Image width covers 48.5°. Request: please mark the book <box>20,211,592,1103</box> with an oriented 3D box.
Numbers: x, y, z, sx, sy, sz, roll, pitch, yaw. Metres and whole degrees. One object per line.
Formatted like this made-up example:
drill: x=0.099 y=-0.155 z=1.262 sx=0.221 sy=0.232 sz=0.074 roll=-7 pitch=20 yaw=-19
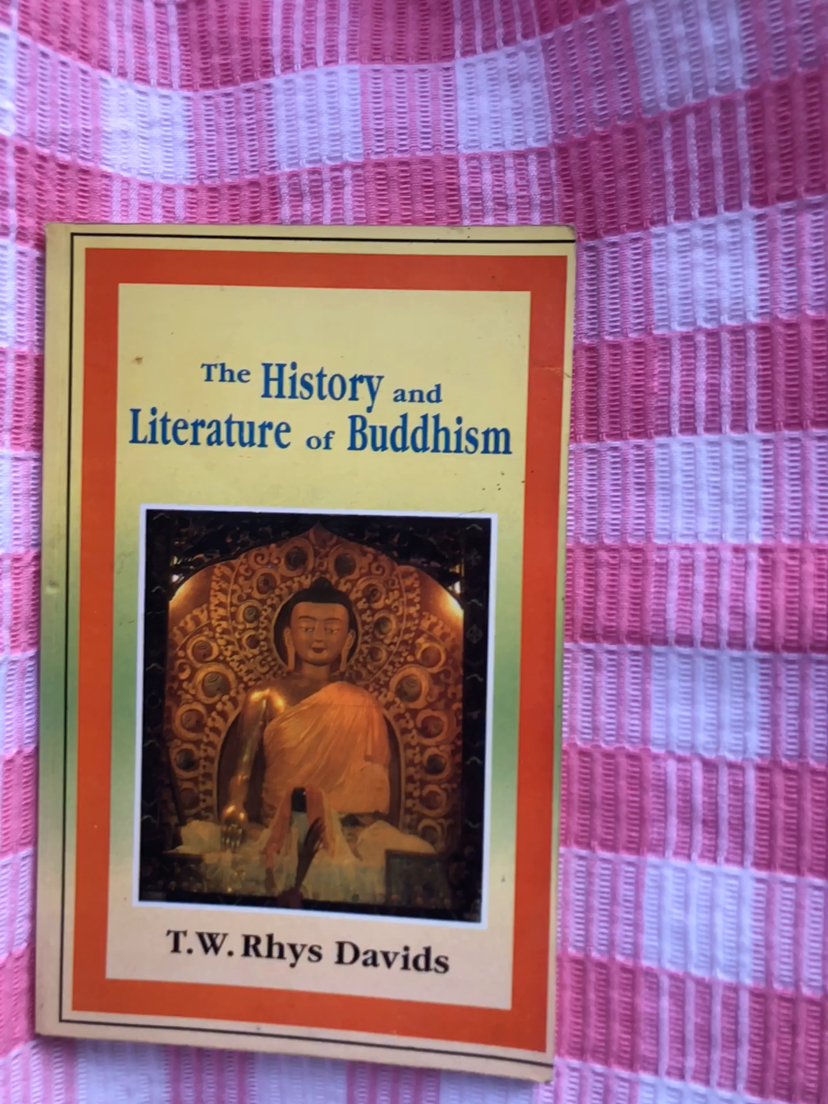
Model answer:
book: x=-0.029 y=0.025 z=0.242 sx=0.020 sy=0.140 sz=0.220 roll=-6 pitch=98 yaw=-83
